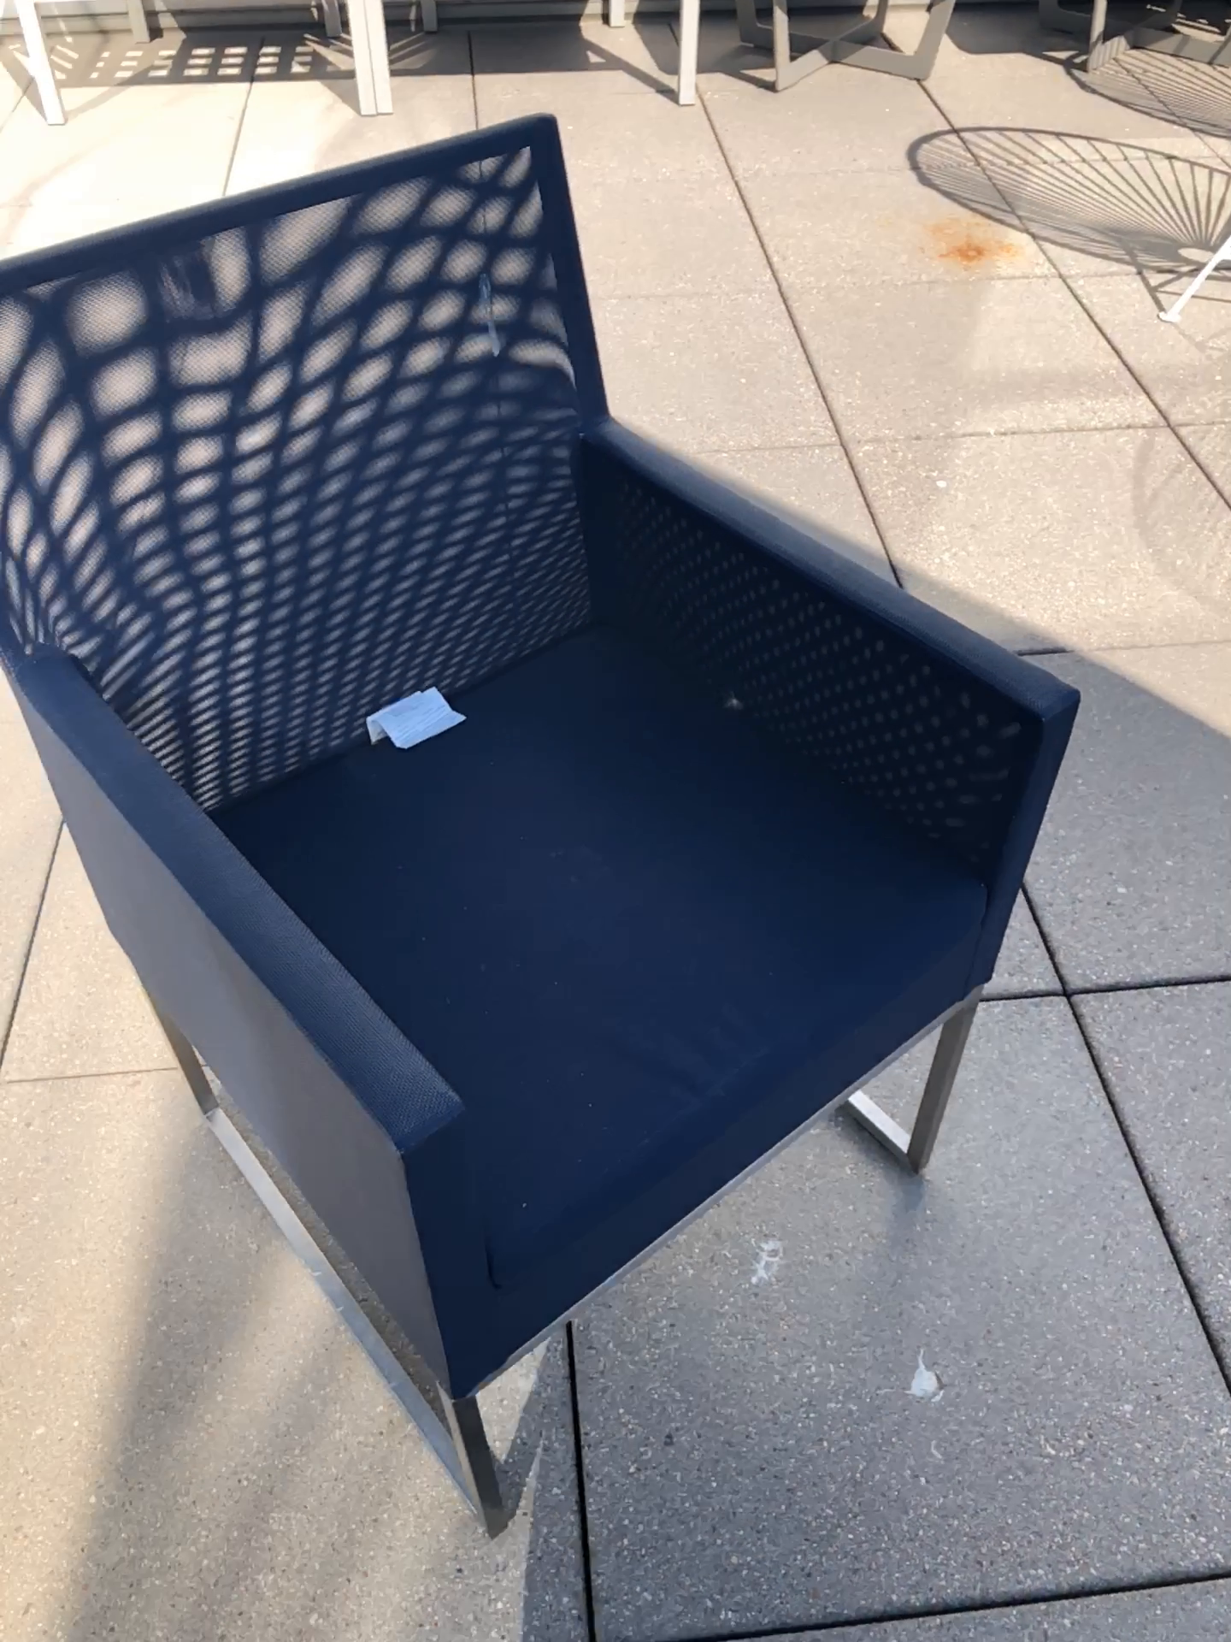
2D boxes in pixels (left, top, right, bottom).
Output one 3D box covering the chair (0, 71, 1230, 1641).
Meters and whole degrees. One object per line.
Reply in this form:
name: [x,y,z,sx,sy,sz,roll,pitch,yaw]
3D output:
chair: [-0.040,0.005,1.032,0.651,0.777,0.672,-29,52,-26]
